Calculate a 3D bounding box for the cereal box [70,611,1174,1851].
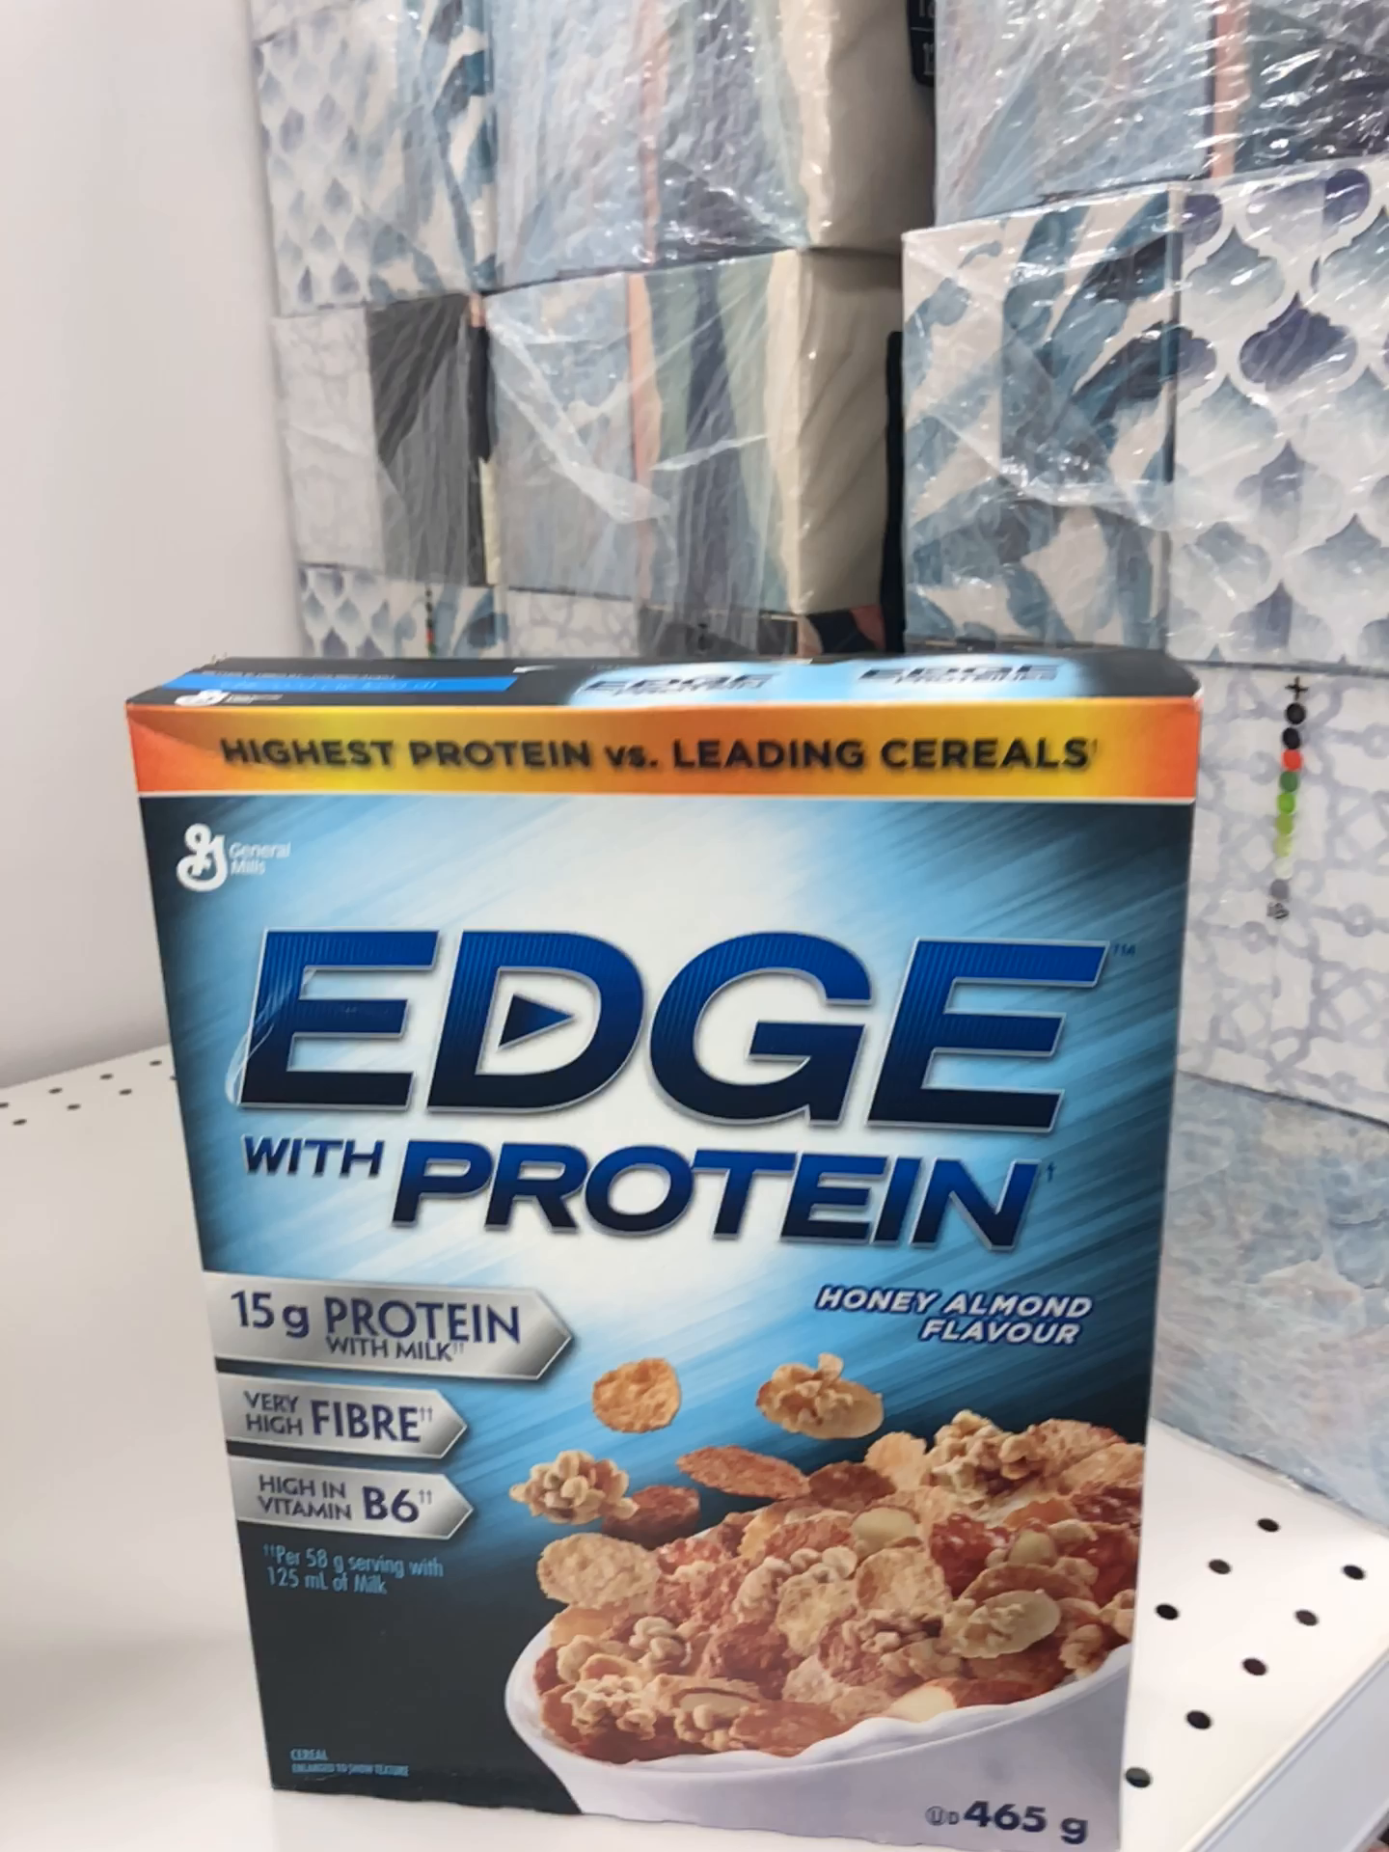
[{"bbox_3d":[-0.010,0.077,0.343,0.200,0.279,0.050,0,18,7],"label":"cereal box"}]
